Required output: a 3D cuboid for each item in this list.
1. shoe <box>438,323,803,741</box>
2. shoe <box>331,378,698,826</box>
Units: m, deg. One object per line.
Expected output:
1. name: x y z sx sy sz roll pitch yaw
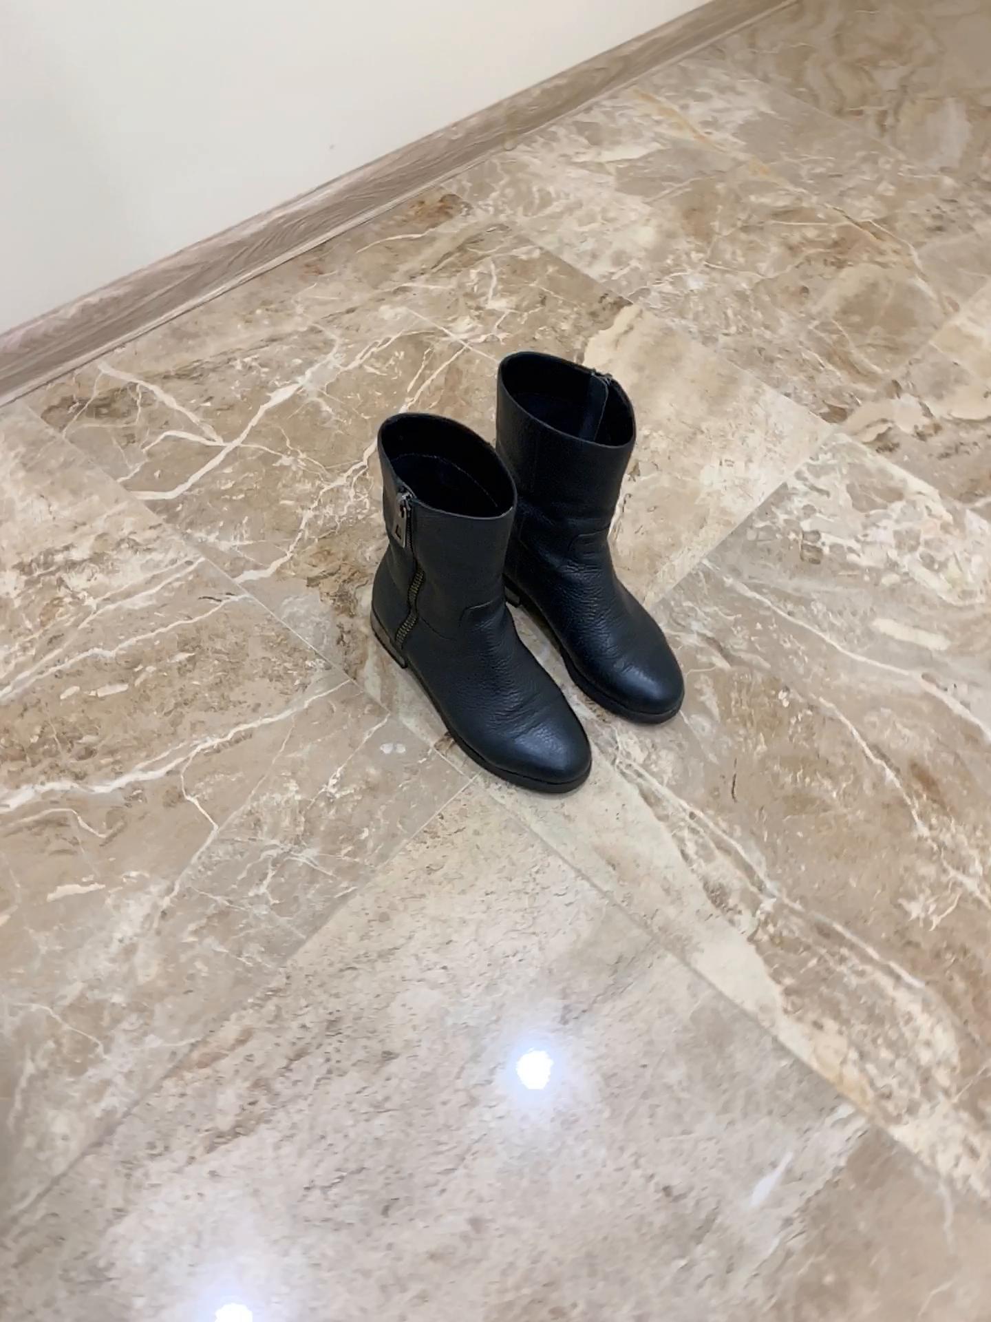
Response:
1. shoe: 0.081 -0.100 0.819 0.090 0.209 0.261 -35 67 -28
2. shoe: -0.005 -0.040 0.758 0.090 0.209 0.260 -36 67 -28
